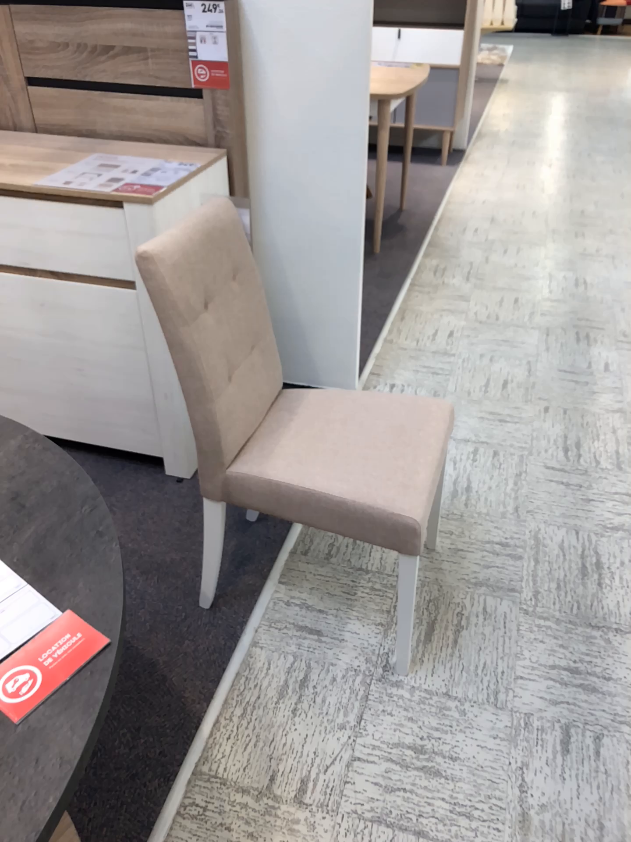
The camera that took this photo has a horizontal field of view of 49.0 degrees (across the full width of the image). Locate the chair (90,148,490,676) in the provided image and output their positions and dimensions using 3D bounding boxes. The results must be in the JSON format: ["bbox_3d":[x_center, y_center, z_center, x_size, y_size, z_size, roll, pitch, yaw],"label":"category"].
[{"bbox_3d":[-0.008,-0.014,1.346,0.530,0.855,0.433,9,35,14],"label":"chair"}]
